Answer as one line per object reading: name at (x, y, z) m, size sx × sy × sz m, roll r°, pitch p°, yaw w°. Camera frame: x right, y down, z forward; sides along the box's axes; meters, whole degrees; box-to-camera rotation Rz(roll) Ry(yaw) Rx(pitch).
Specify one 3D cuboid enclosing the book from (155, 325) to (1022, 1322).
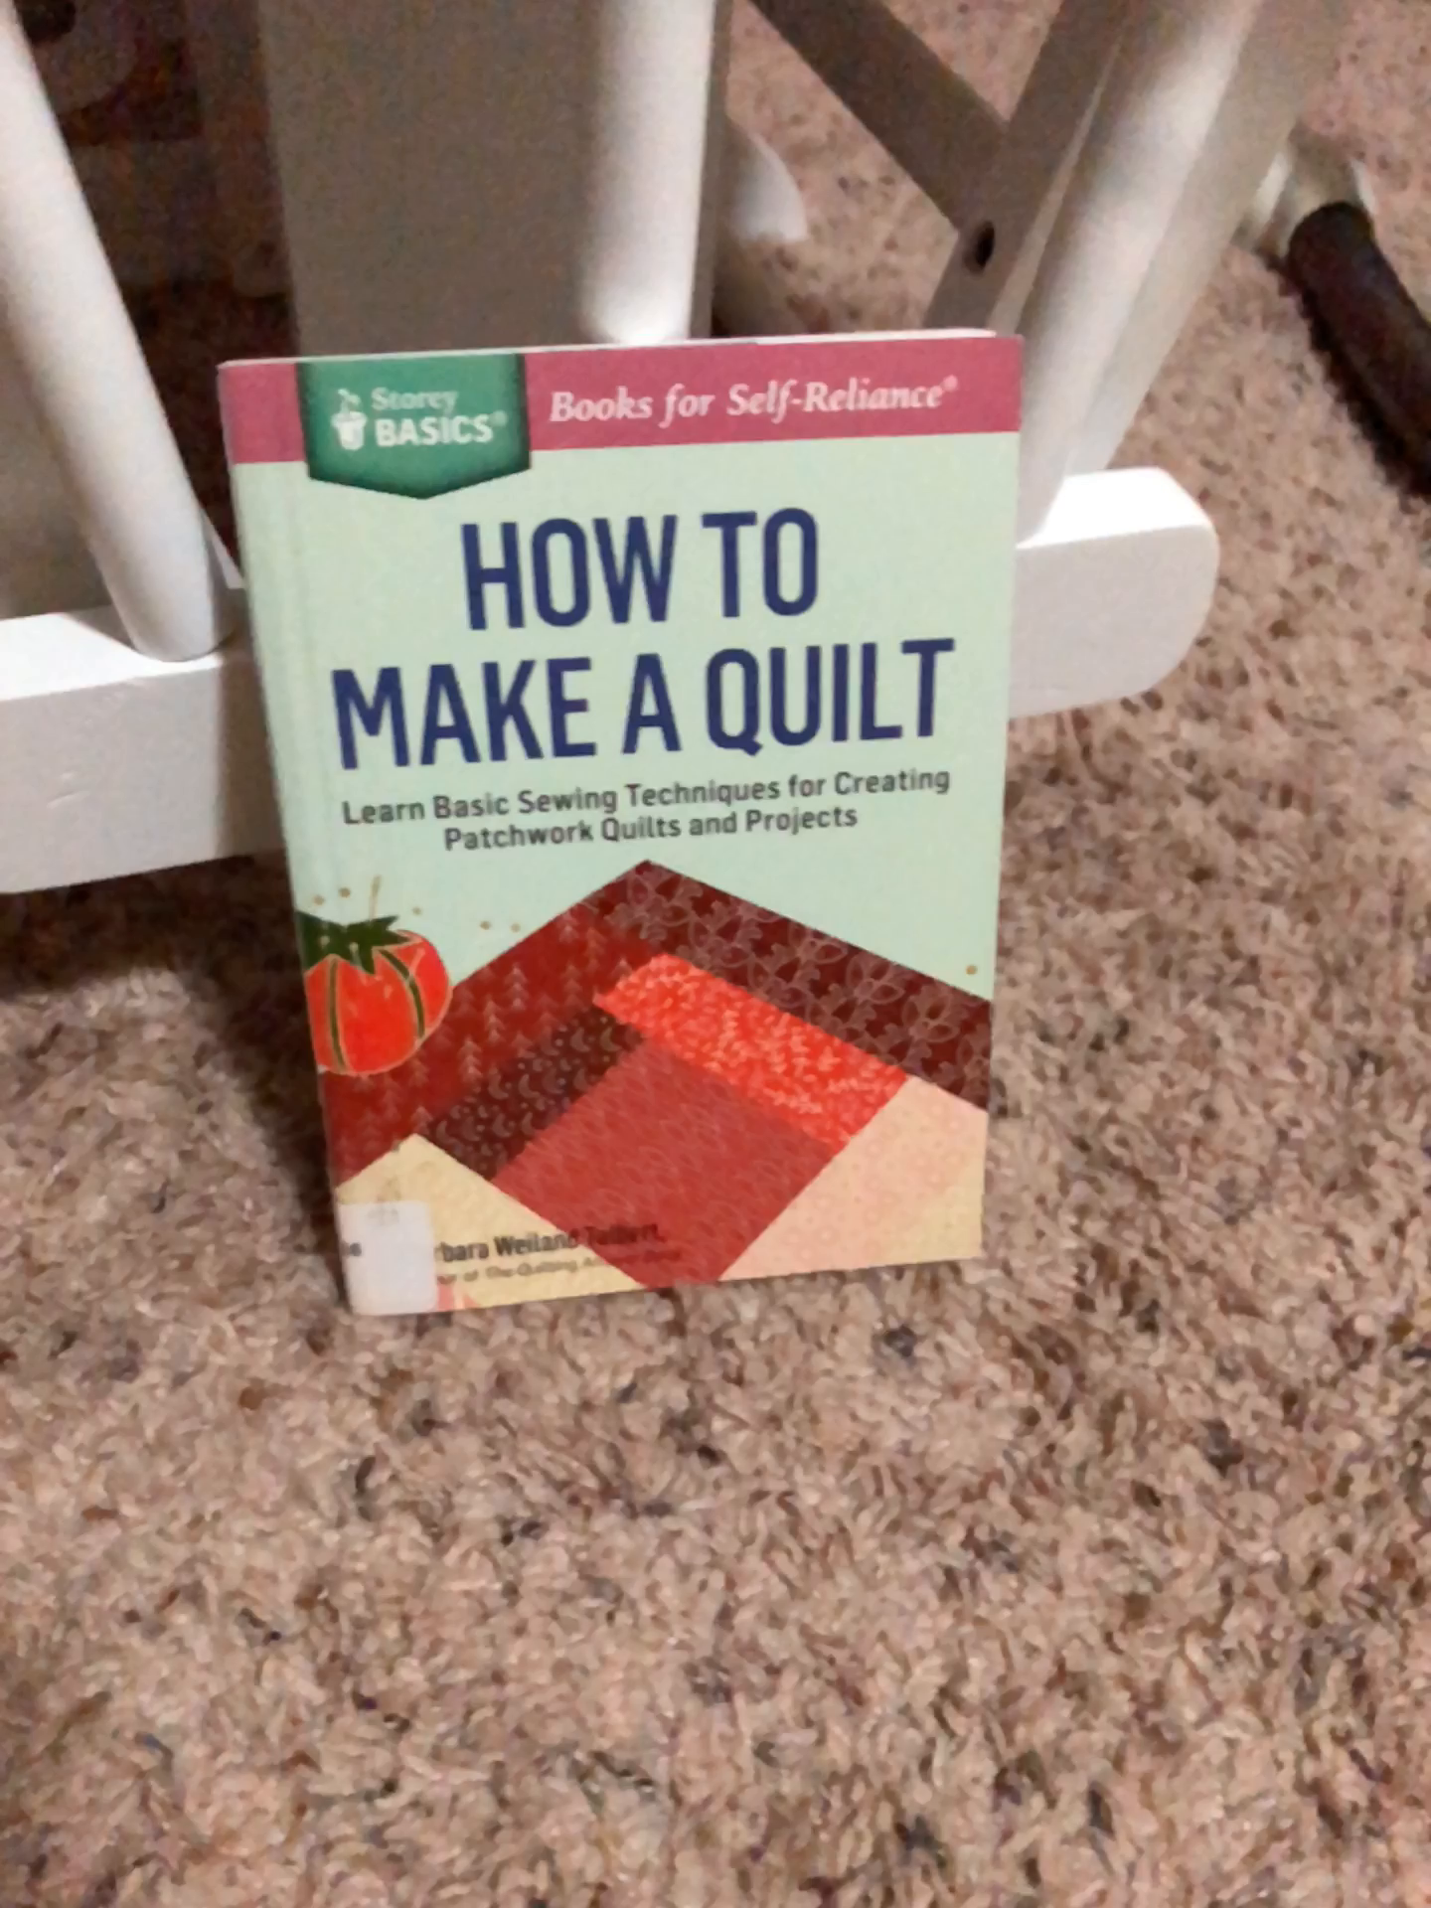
book at (-0.017, -0.019, 0.280) m, size 0.130 × 0.168 × 0.020 m, roll -4°, pitch 22°, yaw -8°
